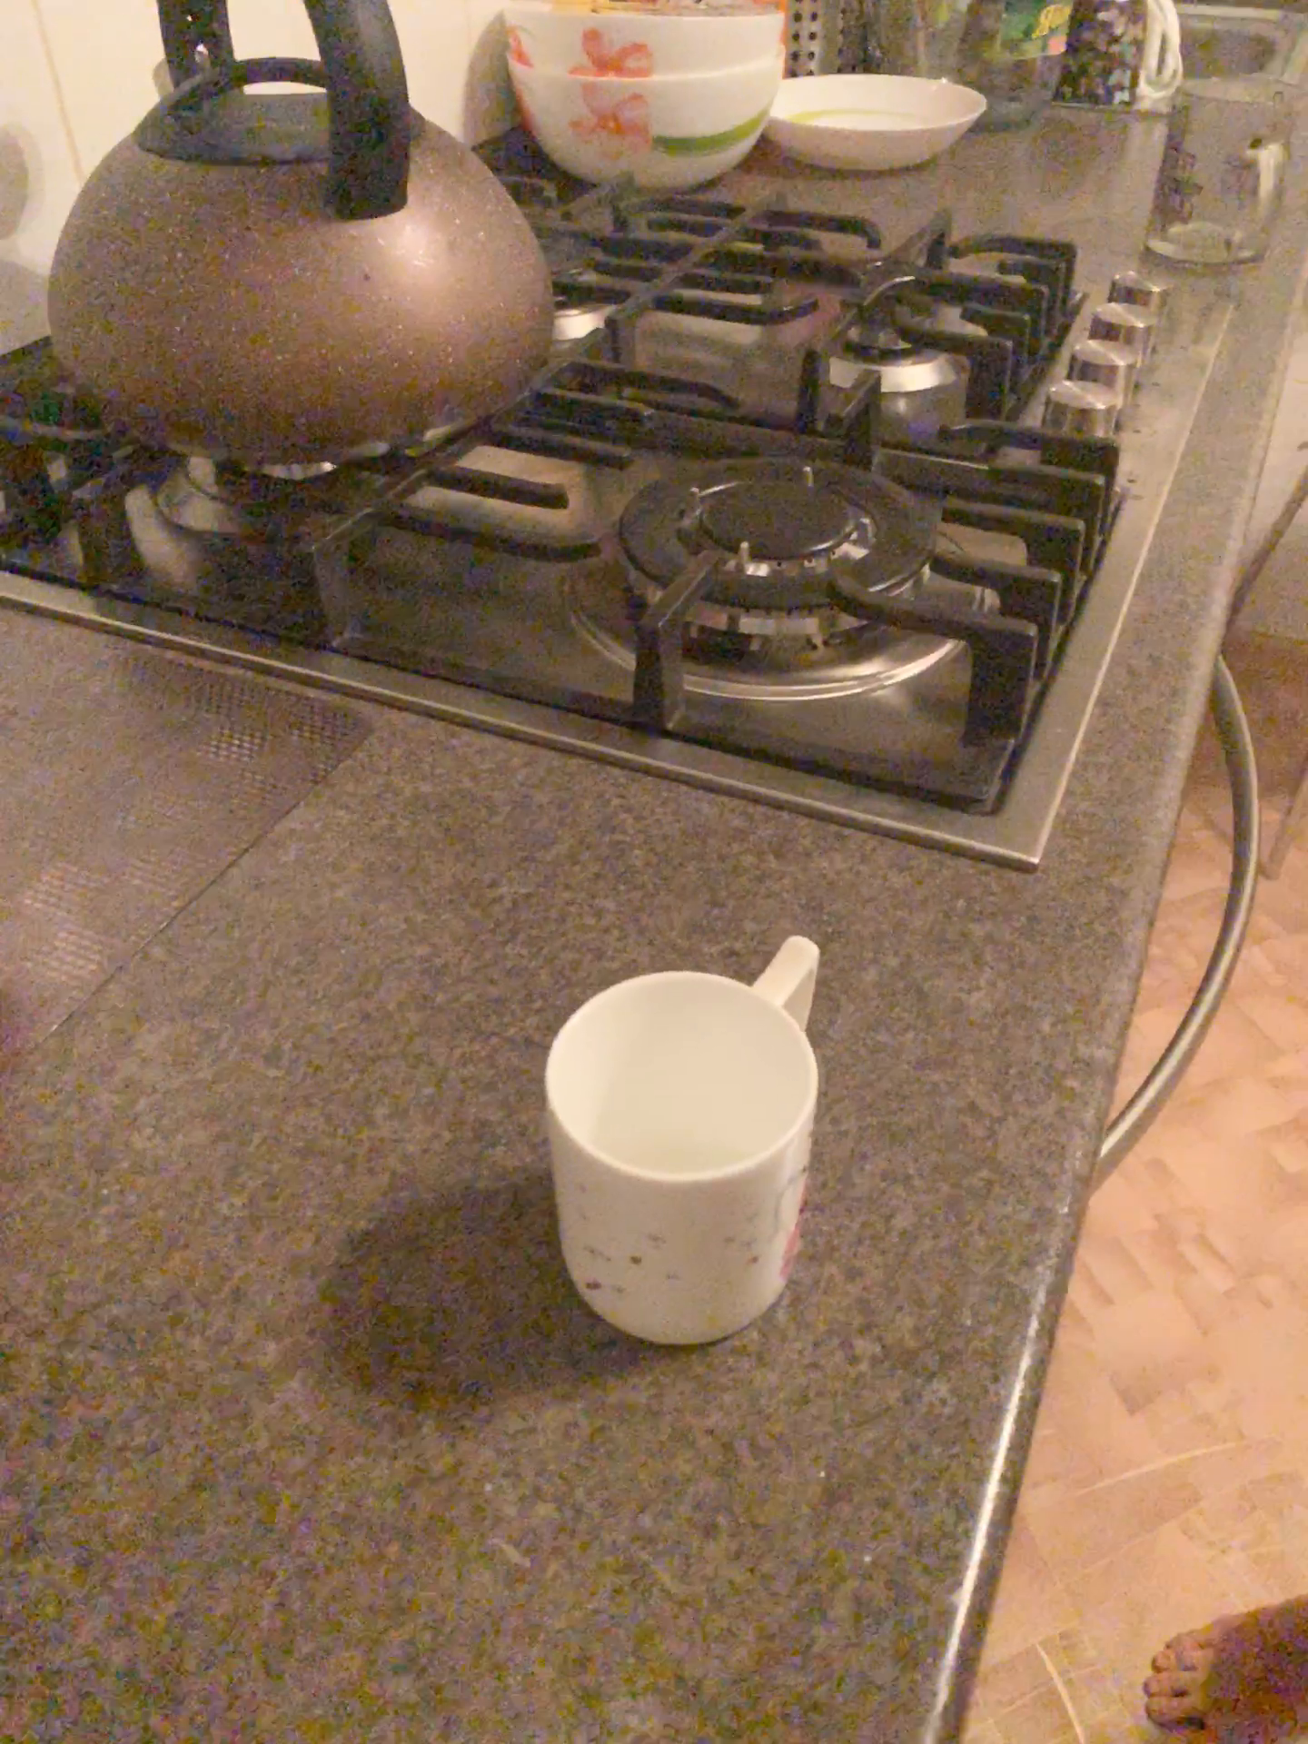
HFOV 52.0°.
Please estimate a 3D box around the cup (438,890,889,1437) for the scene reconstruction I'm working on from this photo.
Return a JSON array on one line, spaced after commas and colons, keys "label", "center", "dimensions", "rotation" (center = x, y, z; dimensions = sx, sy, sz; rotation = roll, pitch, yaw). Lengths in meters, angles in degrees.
[{"label": "cup", "center": [0.004, 0.063, 0.306], "dimensions": [0.060, 0.069, 0.080], "rotation": [25, 47, 27]}]
